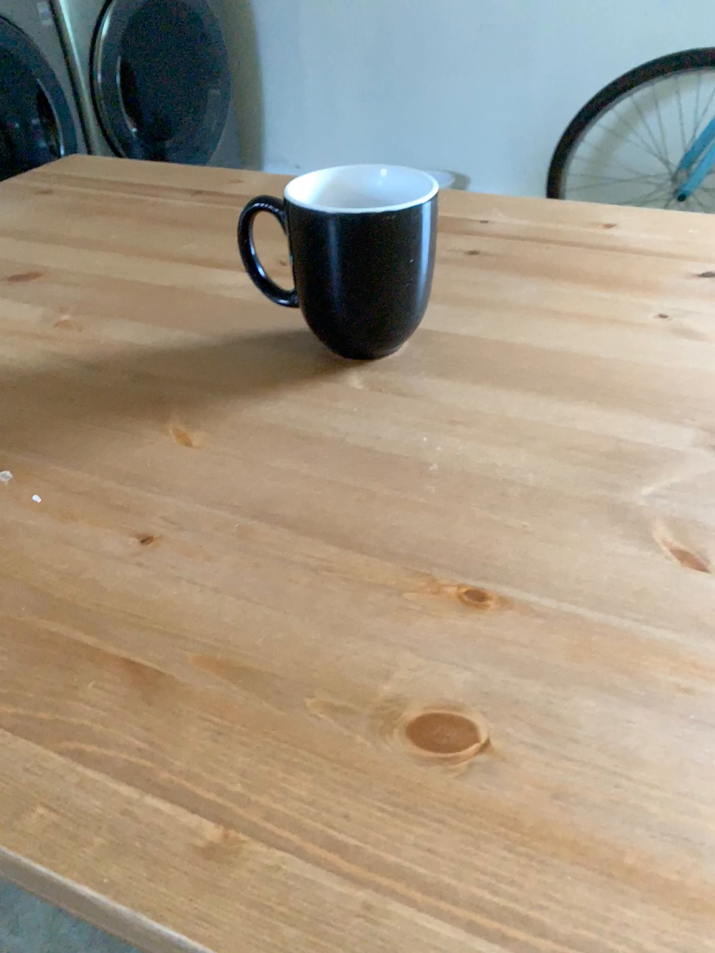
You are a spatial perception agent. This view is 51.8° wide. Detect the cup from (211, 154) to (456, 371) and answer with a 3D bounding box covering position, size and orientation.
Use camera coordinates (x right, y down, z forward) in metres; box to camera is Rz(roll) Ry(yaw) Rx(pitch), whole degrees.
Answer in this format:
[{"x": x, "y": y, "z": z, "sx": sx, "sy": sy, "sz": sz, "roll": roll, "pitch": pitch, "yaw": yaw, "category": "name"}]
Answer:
[{"x": -0.009, "y": -0.151, "z": 0.512, "sx": 0.140, "sy": 0.109, "sz": 0.100, "roll": 6, "pitch": 39, "yaw": 10, "category": "cup"}]
